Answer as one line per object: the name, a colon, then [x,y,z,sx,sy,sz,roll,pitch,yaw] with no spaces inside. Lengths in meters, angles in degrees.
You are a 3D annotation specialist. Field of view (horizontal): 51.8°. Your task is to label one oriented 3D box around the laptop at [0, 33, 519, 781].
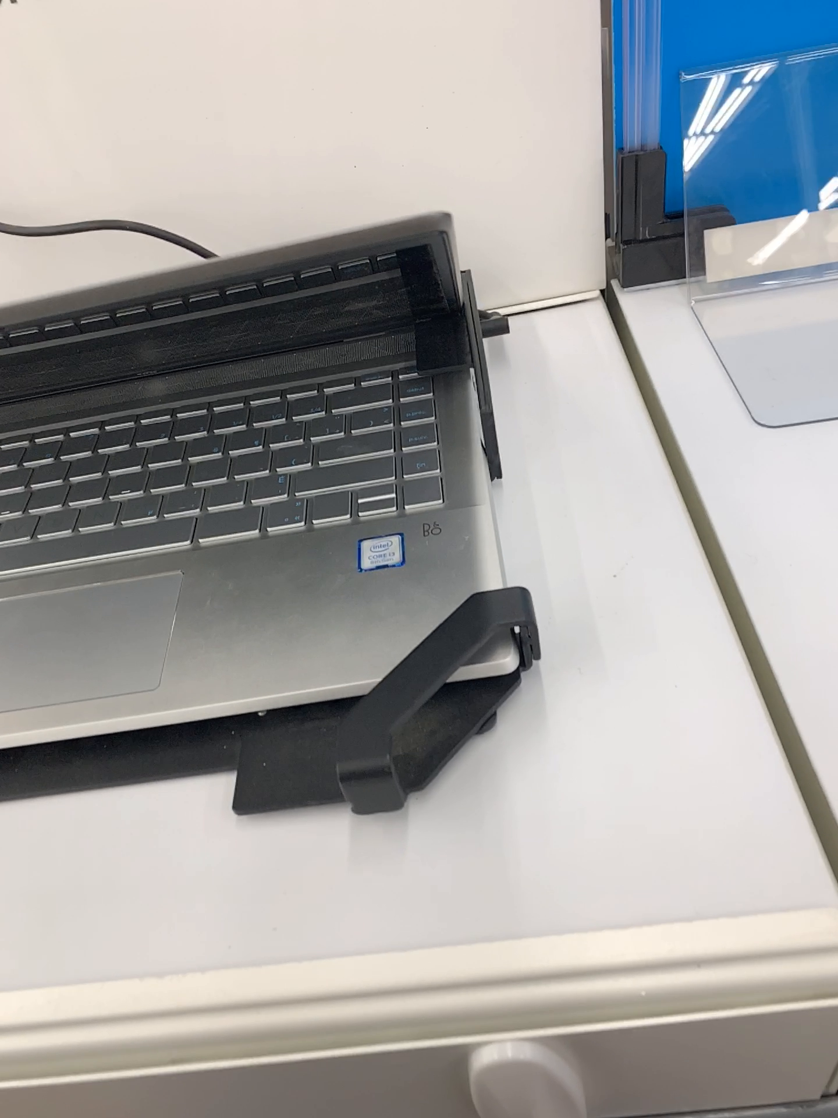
laptop: [-0.126,-0.056,0.292,0.283,0.111,0.194,-9,44,8]
